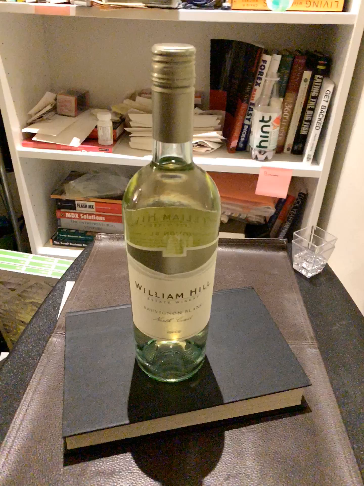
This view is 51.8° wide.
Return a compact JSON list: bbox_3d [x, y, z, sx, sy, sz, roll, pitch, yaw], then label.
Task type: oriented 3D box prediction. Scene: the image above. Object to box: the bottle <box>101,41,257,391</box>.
[{"bbox_3d":[-0.006,-0.005,0.332,0.090,0.298,0.091,1,32,-1],"label":"bottle"}]
